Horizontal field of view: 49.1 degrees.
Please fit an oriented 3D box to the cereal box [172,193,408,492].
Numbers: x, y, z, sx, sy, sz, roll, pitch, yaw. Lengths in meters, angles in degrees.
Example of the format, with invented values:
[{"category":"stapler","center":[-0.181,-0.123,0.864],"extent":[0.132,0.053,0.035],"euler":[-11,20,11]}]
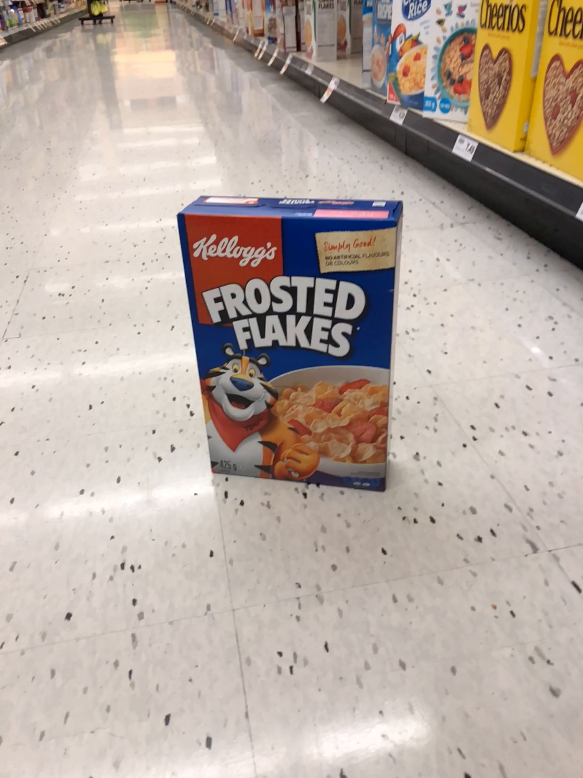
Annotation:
[{"category":"cereal box","center":[0.006,-0.040,0.645],"extent":[0.200,0.288,0.070],"euler":[5,33,11]}]
